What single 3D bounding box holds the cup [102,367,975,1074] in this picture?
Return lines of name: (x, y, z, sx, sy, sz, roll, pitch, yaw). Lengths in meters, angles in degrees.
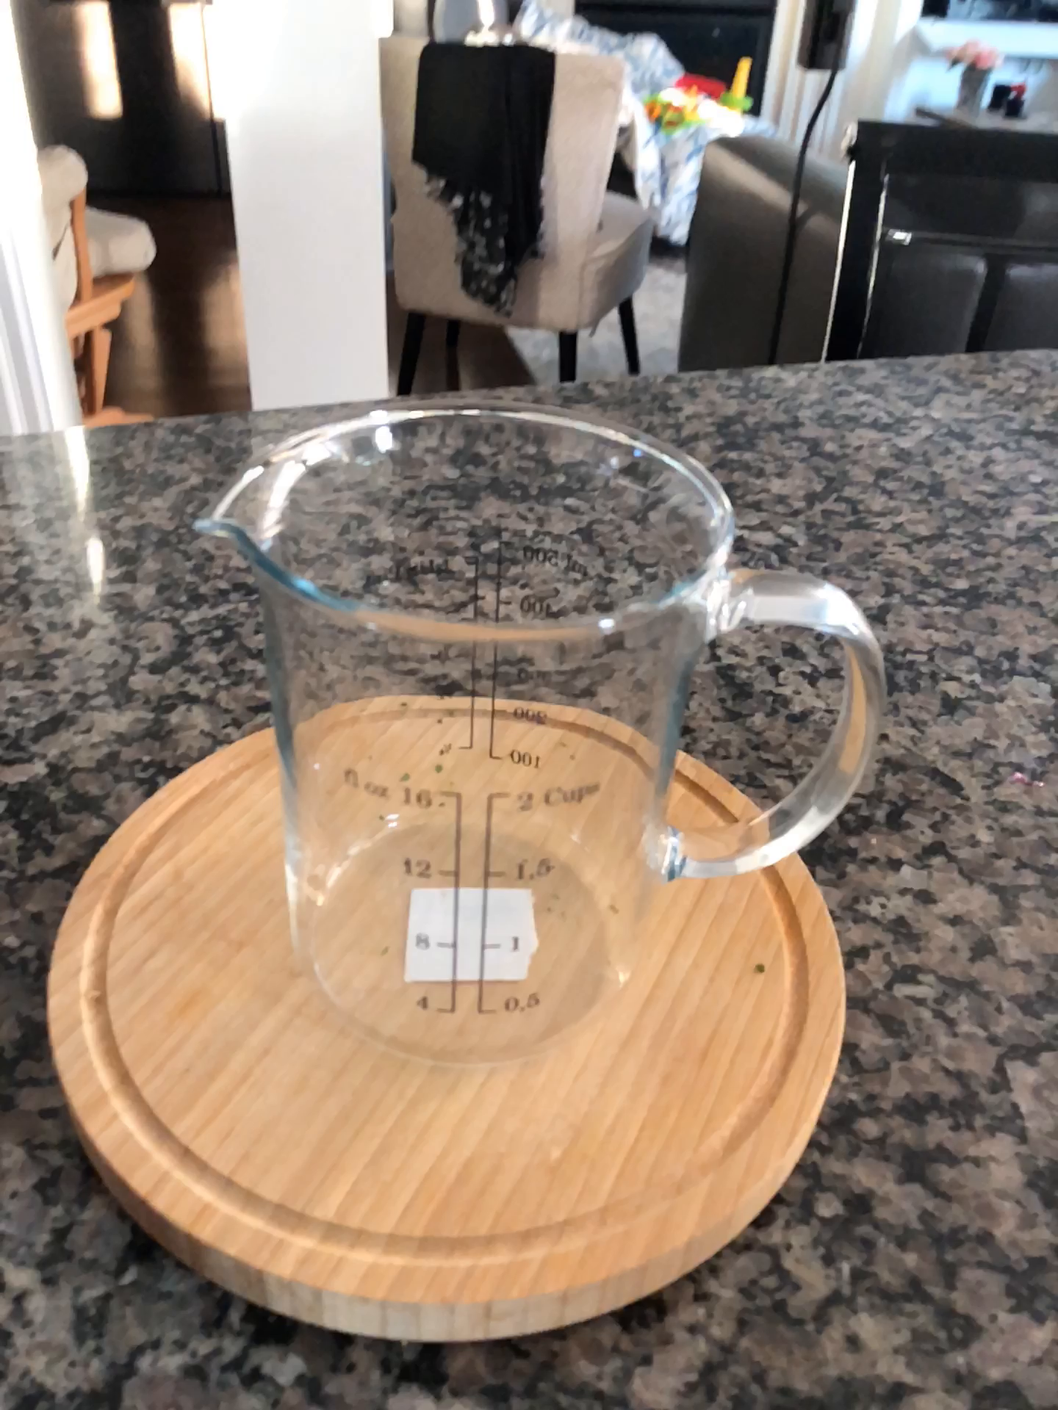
cup: (-0.003, 0.002, 0.281, 0.150, 0.128, 0.106, 0, 35, -5)
